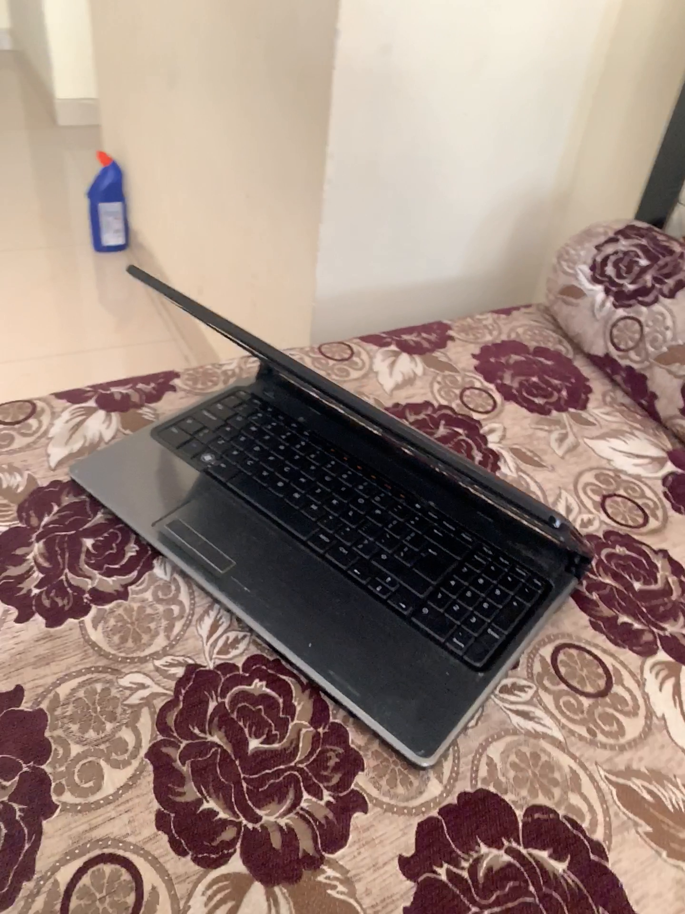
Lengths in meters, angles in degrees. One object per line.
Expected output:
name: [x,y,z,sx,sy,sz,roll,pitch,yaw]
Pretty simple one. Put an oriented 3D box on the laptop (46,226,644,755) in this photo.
laptop: [-0.012,-0.015,0.535,0.364,0.154,0.221,32,45,27]
